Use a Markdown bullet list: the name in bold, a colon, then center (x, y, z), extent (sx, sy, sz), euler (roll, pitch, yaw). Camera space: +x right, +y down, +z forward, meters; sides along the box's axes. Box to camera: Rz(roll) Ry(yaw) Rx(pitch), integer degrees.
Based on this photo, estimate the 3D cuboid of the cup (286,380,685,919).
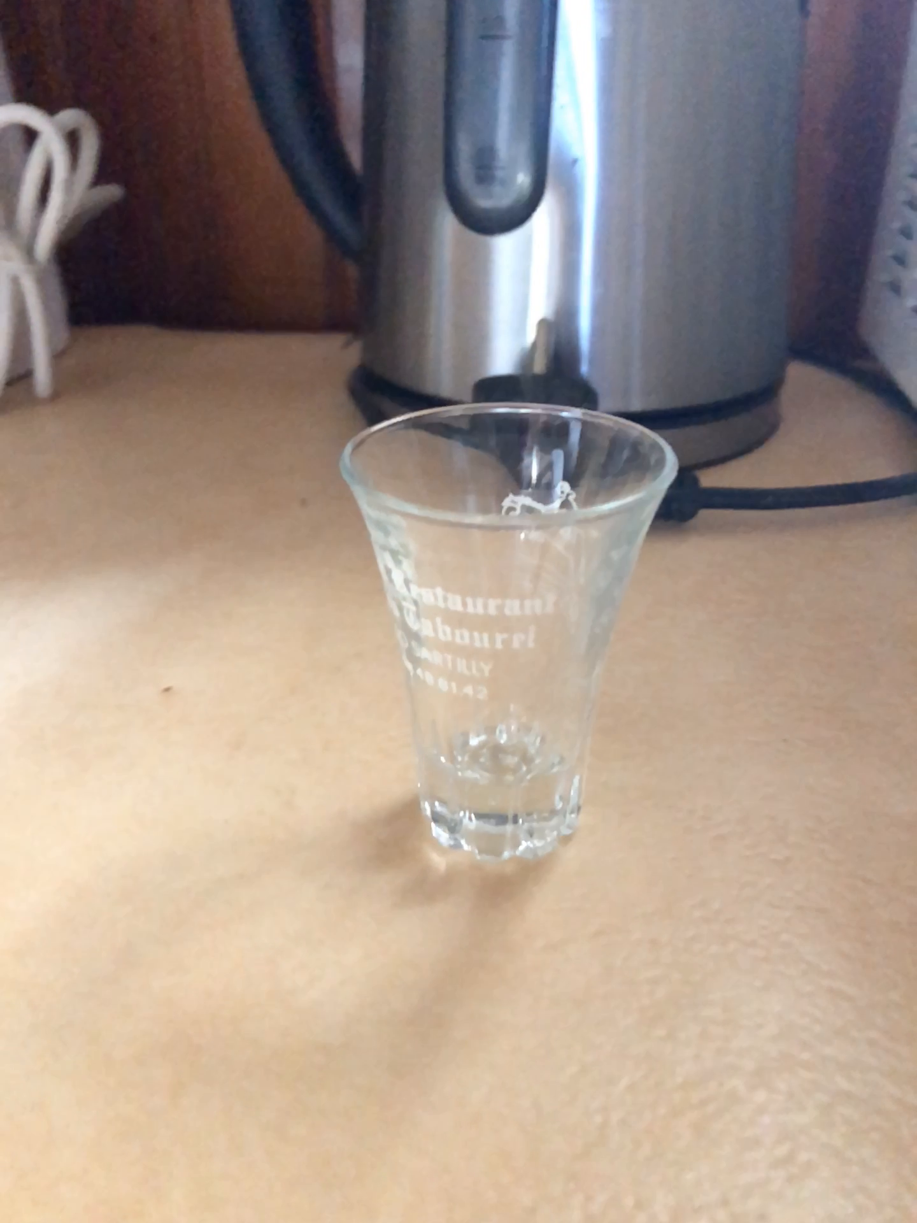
- **cup**: center (0.007, 0.004, 0.176), extent (0.050, 0.070, 0.050), euler (0, 29, 0)
